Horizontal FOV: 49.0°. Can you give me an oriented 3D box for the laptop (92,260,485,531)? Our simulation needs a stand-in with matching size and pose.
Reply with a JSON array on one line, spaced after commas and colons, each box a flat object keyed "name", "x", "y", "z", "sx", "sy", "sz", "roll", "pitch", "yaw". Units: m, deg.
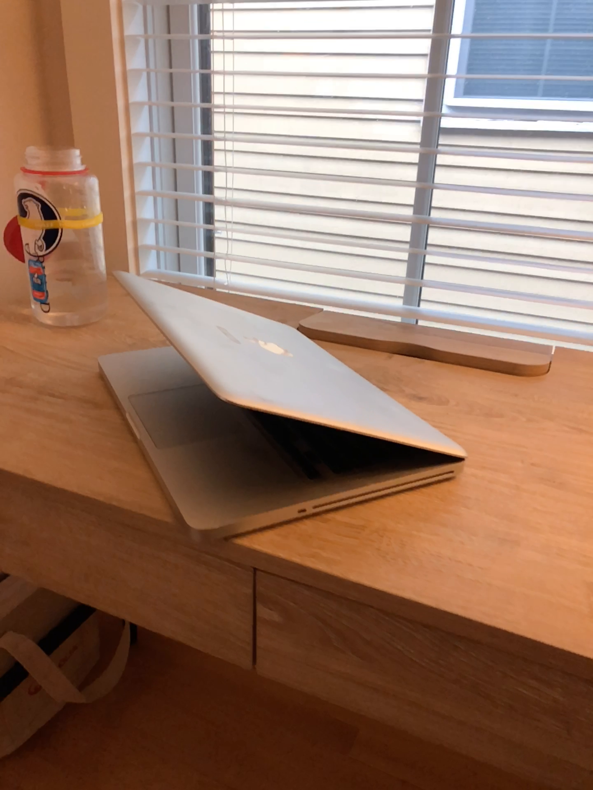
[{"name": "laptop", "x": -0.033, "y": -0.033, "z": 0.576, "sx": 0.229, "sy": 0.089, "sz": 0.320, "roll": -9, "pitch": 27, "yaw": -24}]
